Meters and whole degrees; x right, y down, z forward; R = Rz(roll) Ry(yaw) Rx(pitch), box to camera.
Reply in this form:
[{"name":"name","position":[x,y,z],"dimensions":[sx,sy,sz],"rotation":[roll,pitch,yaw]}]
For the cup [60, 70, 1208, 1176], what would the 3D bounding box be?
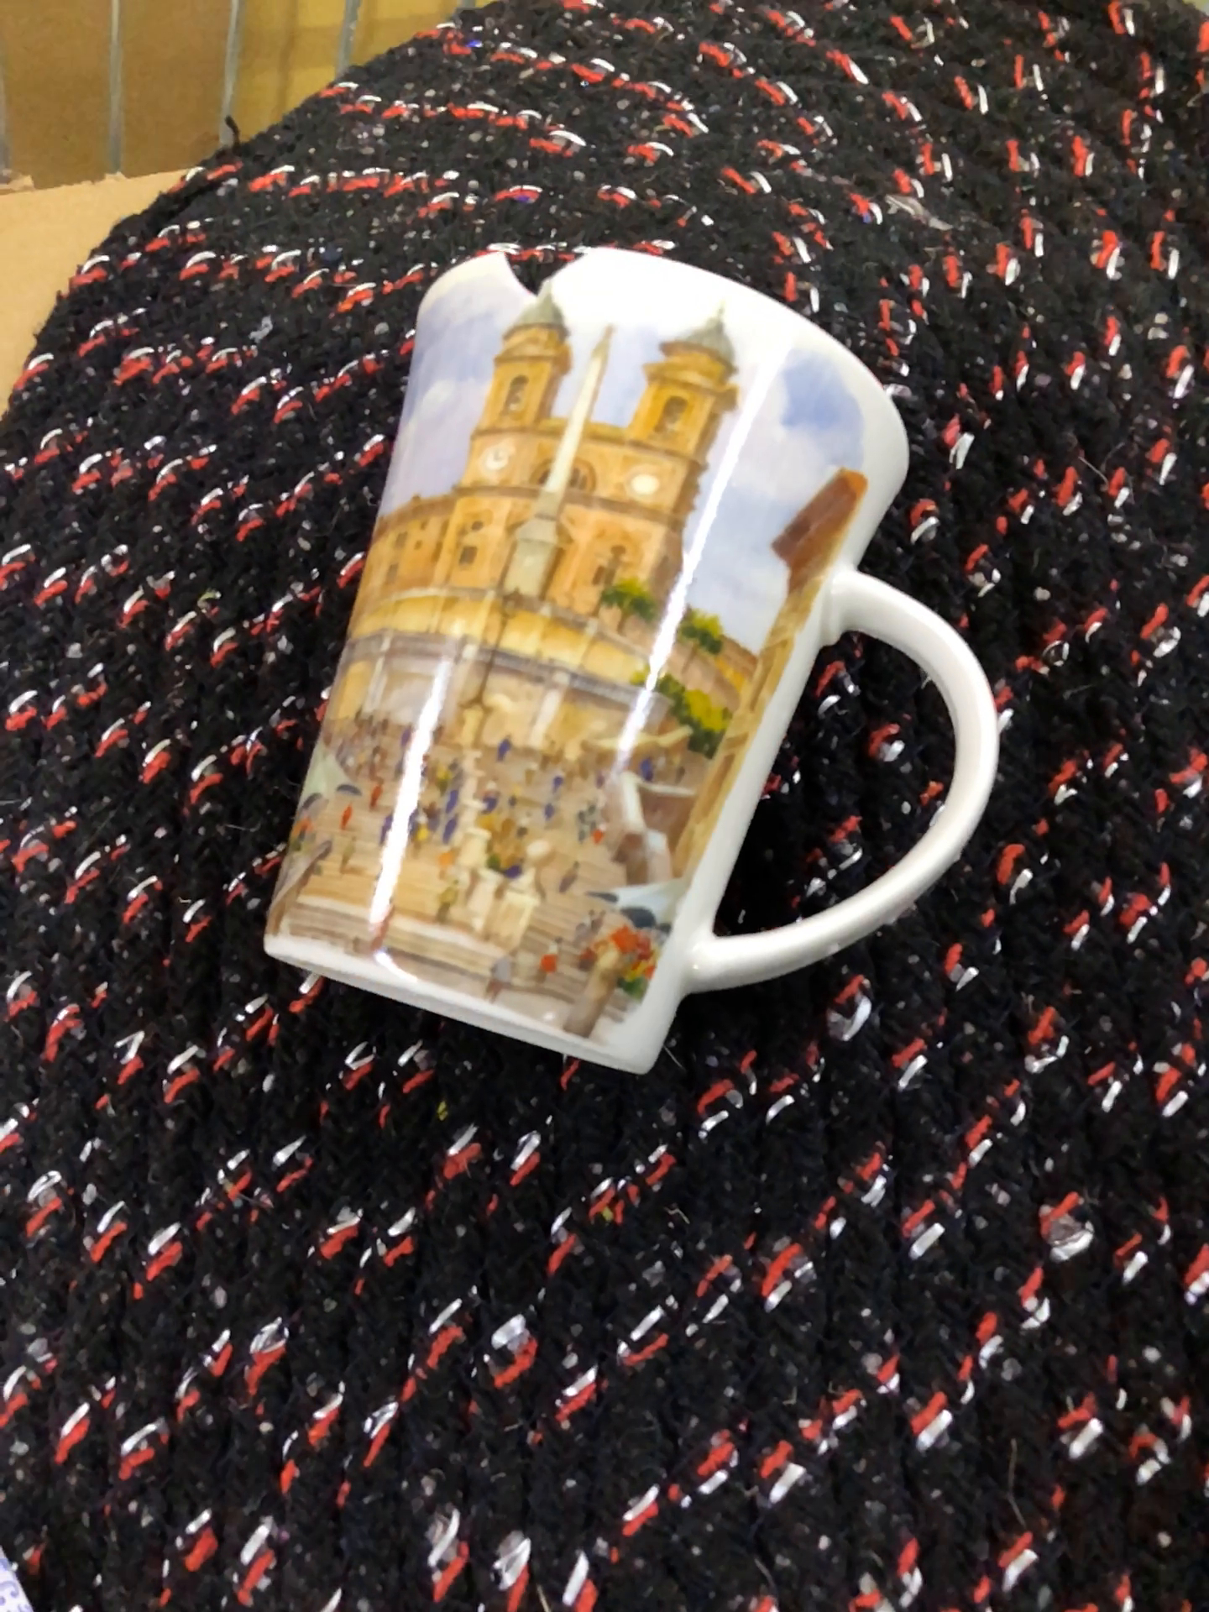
[{"name":"cup","position":[0.010,-0.017,0.198],"dimensions":[0.110,0.090,0.110],"rotation":[0,75,1]}]
